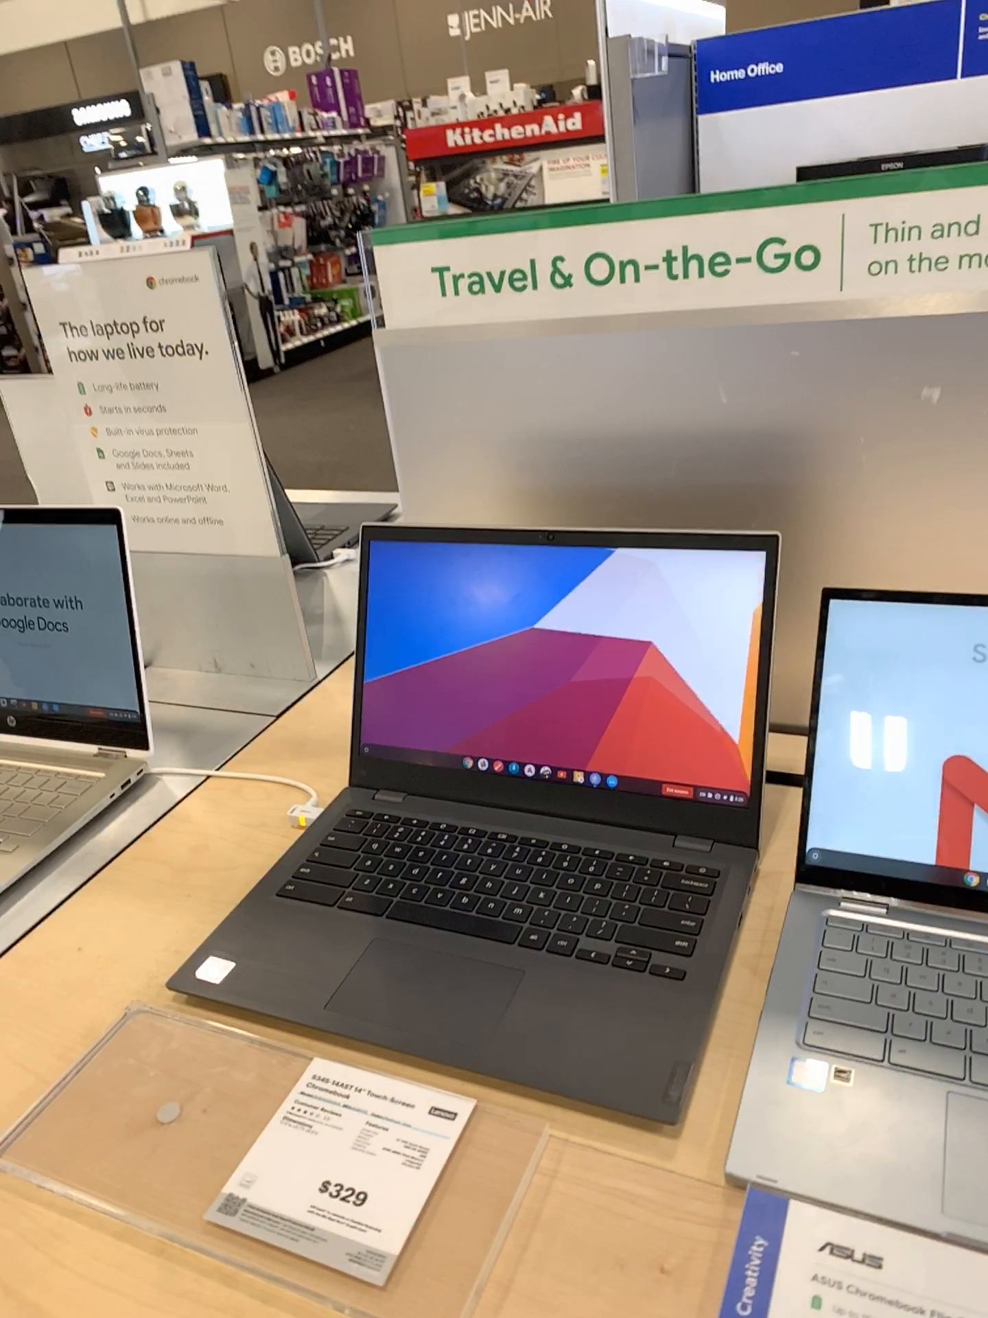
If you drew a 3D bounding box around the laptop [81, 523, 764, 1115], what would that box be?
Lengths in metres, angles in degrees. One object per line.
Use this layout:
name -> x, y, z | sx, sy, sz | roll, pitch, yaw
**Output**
laptop -> -0.013, 0.060, 0.642 | 0.310, 0.188, 0.300 | 5, 29, 24
